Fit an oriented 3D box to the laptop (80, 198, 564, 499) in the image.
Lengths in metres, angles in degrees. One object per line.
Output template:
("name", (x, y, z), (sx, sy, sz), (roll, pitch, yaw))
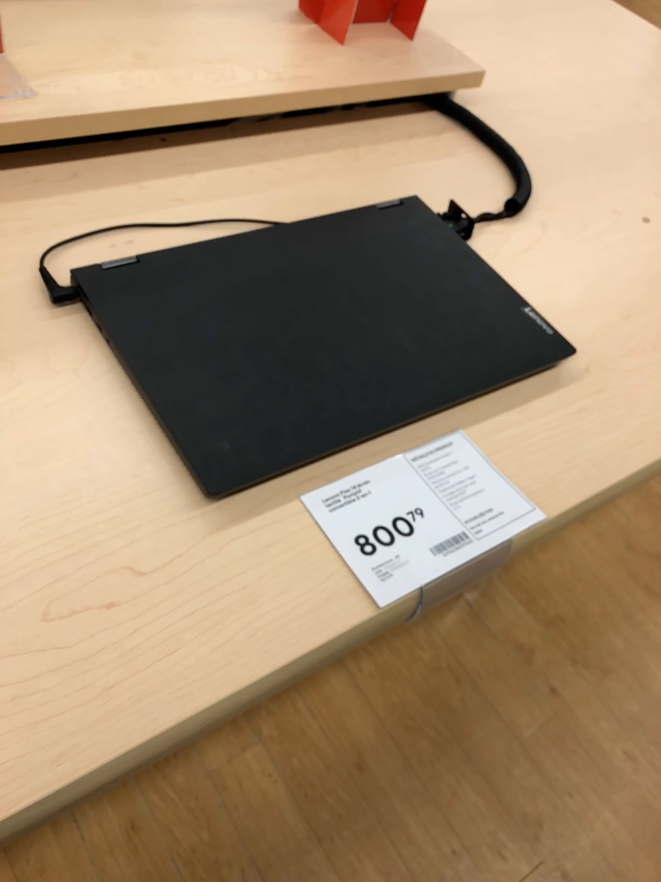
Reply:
("laptop", (0.004, -0.097, 0.572), (0.327, 0.009, 0.211), (-21, 61, -30))
